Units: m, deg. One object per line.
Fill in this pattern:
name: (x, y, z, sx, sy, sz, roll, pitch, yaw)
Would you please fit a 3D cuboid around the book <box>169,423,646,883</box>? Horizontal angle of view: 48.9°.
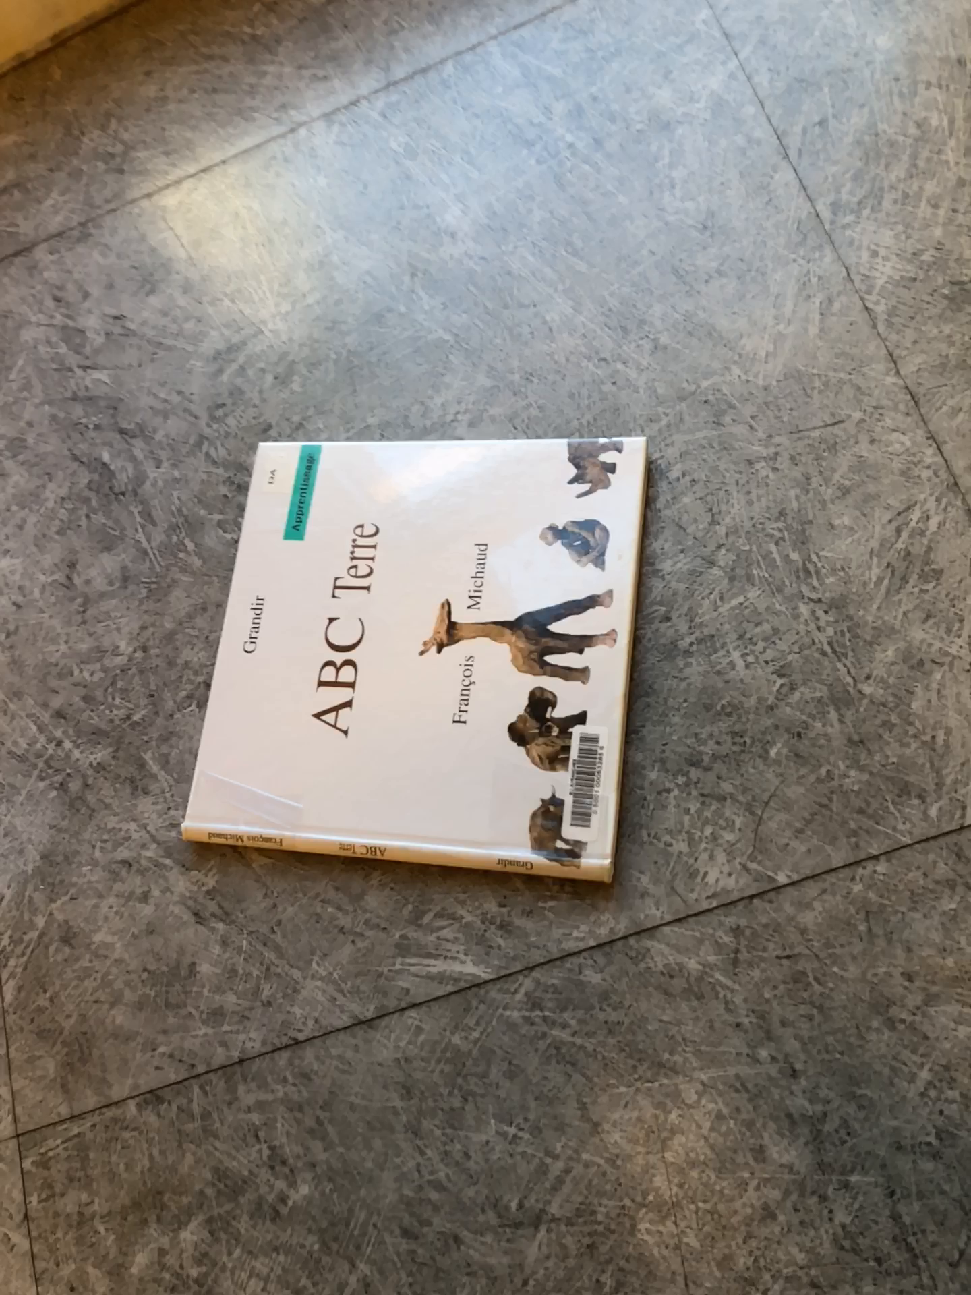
book: (-0.033, -0.005, 0.484, 0.193, 0.020, 0.200, 2, 73, 16)
